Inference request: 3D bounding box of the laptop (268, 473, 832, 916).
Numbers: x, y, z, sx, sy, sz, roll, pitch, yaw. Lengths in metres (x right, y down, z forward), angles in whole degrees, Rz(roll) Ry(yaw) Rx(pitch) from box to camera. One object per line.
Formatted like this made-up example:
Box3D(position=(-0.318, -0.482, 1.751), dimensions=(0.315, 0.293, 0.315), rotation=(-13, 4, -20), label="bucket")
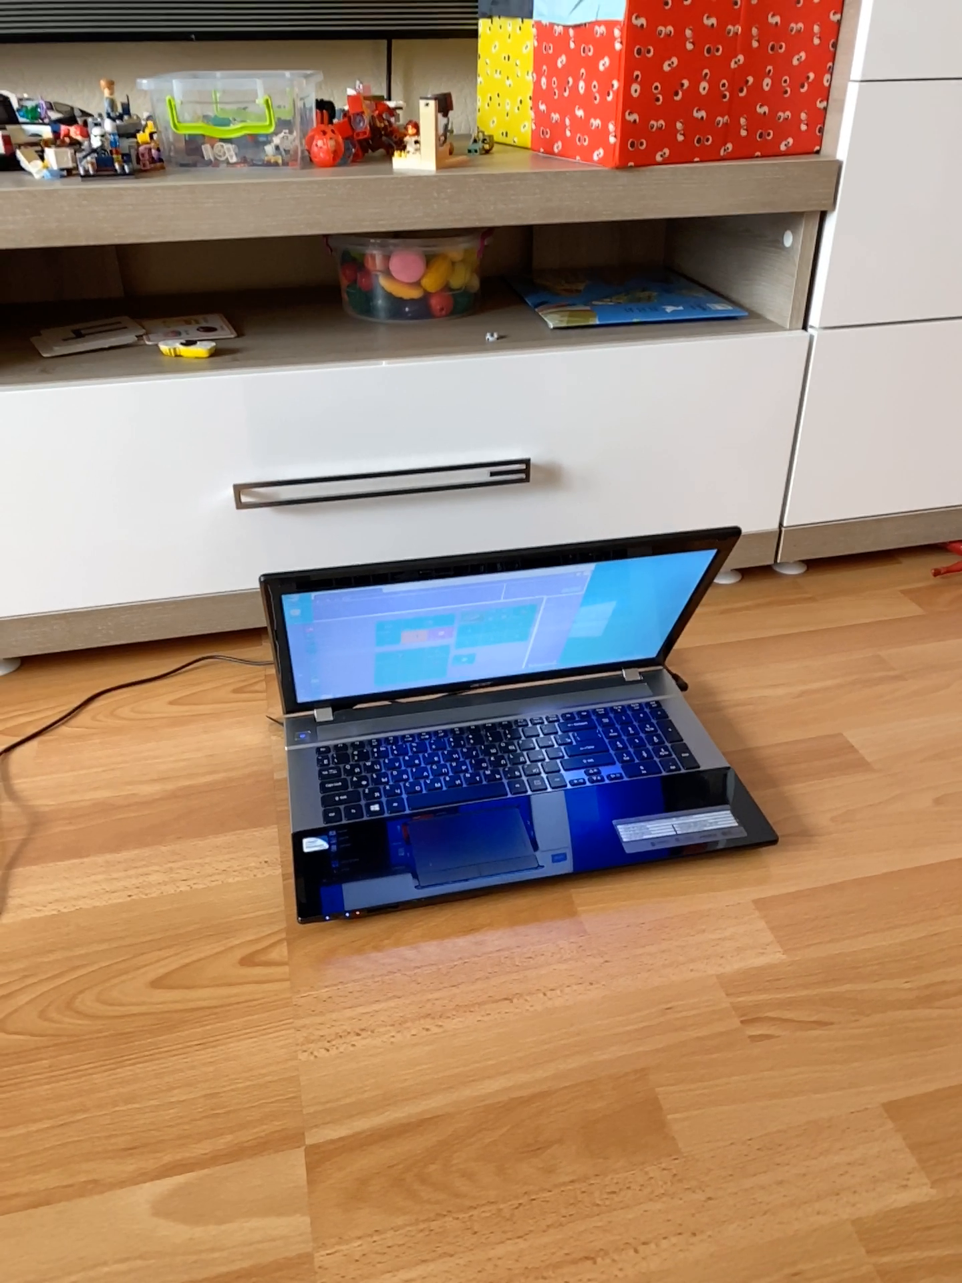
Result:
Box3D(position=(0.034, 0.026, 0.865), dimensions=(0.411, 0.233, 0.270), rotation=(-6, 31, -10), label="laptop")
